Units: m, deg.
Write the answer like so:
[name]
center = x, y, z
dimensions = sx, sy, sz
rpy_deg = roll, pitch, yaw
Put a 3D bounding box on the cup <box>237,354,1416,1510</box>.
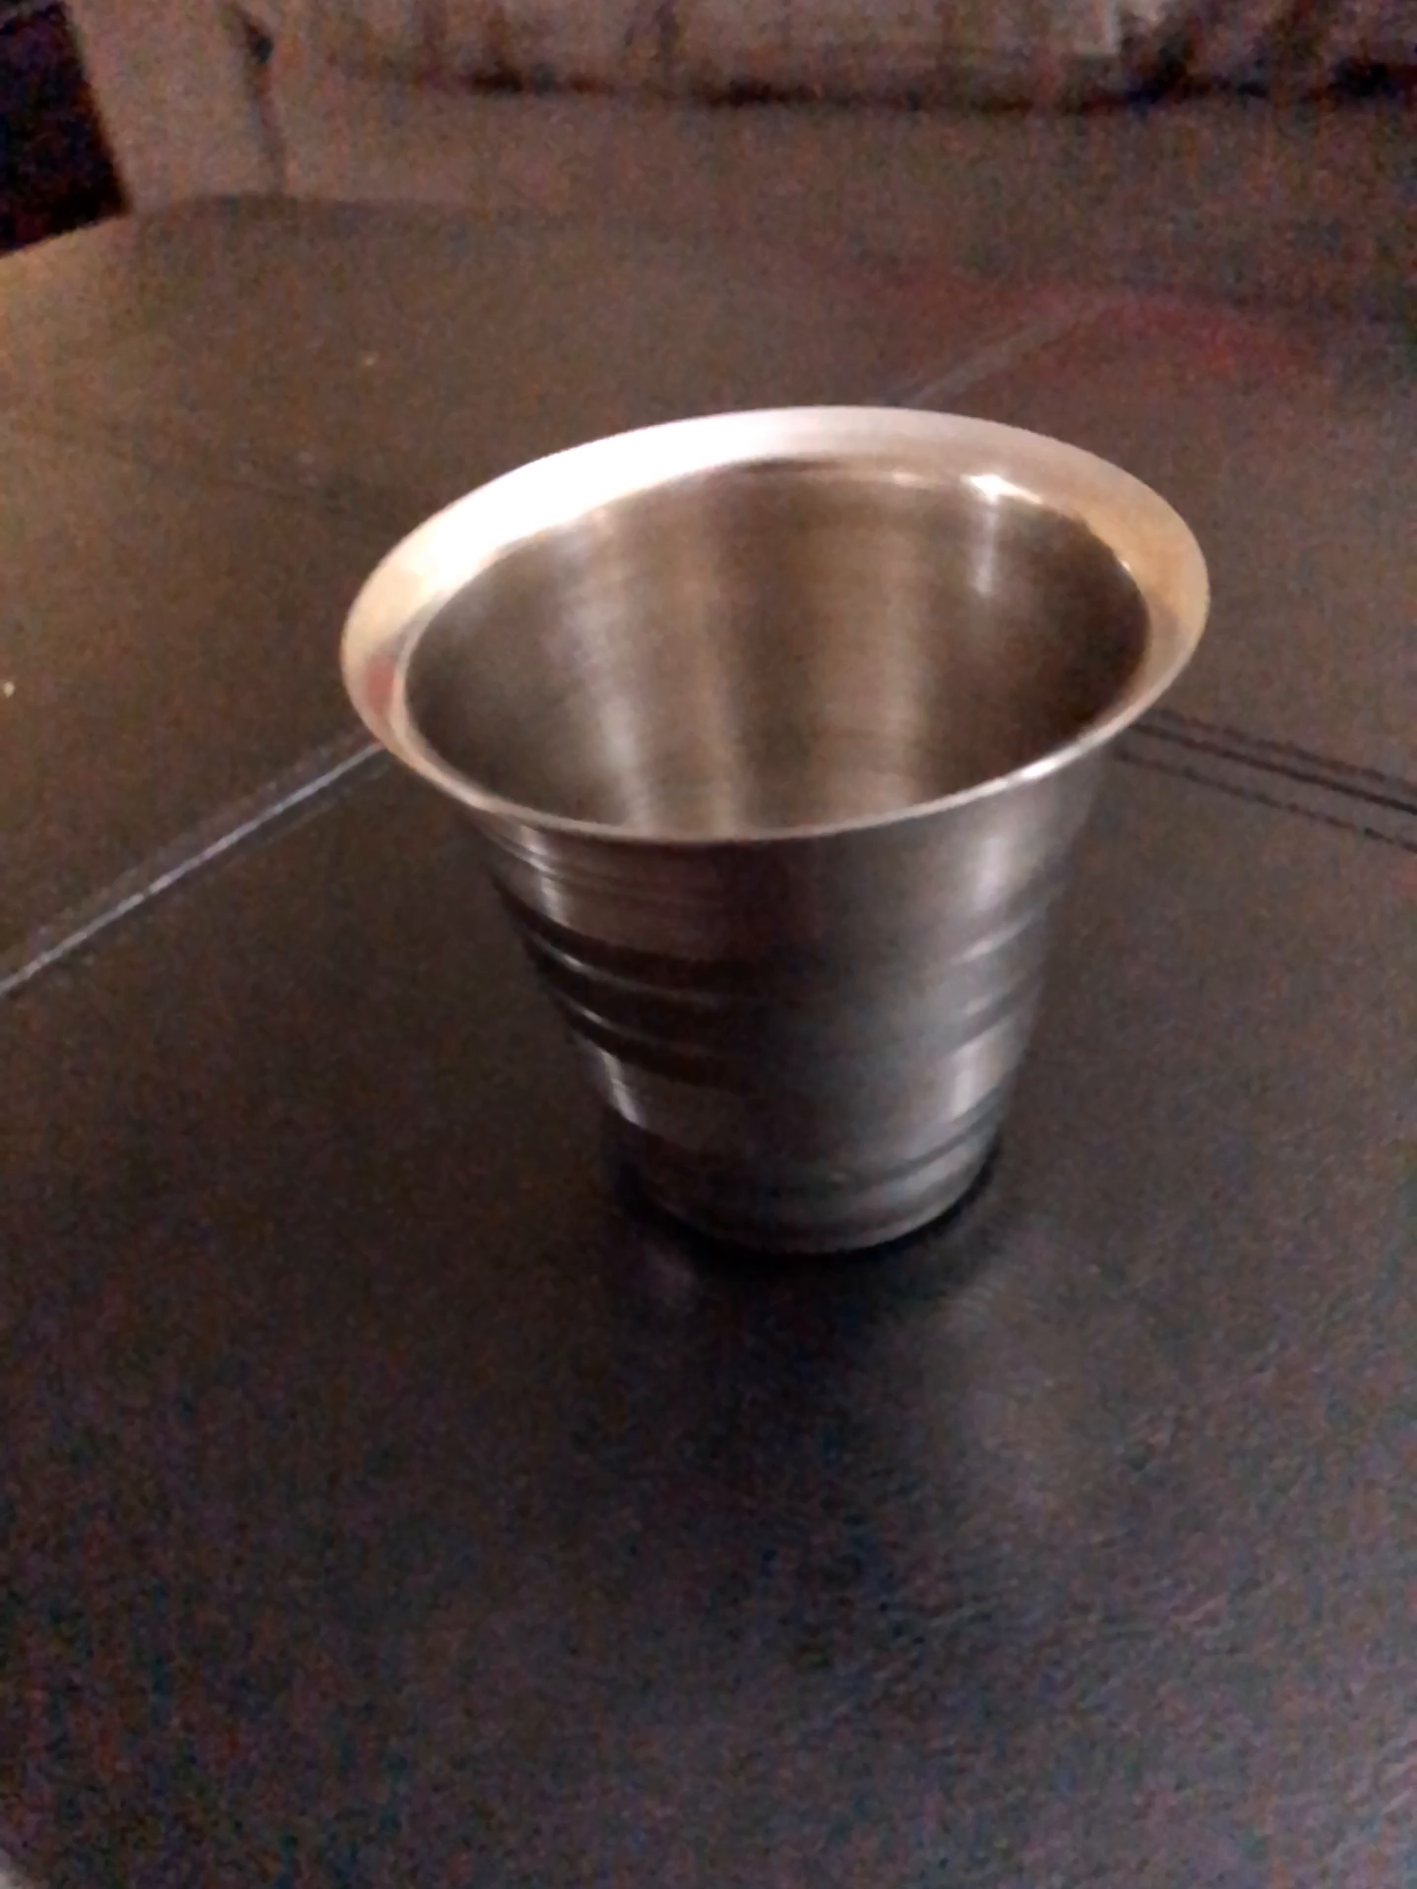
[cup]
center = 0.010, -0.009, 0.143
dimensions = 0.067, 0.052, 0.074
rpy_deg = -5, 38, 4
